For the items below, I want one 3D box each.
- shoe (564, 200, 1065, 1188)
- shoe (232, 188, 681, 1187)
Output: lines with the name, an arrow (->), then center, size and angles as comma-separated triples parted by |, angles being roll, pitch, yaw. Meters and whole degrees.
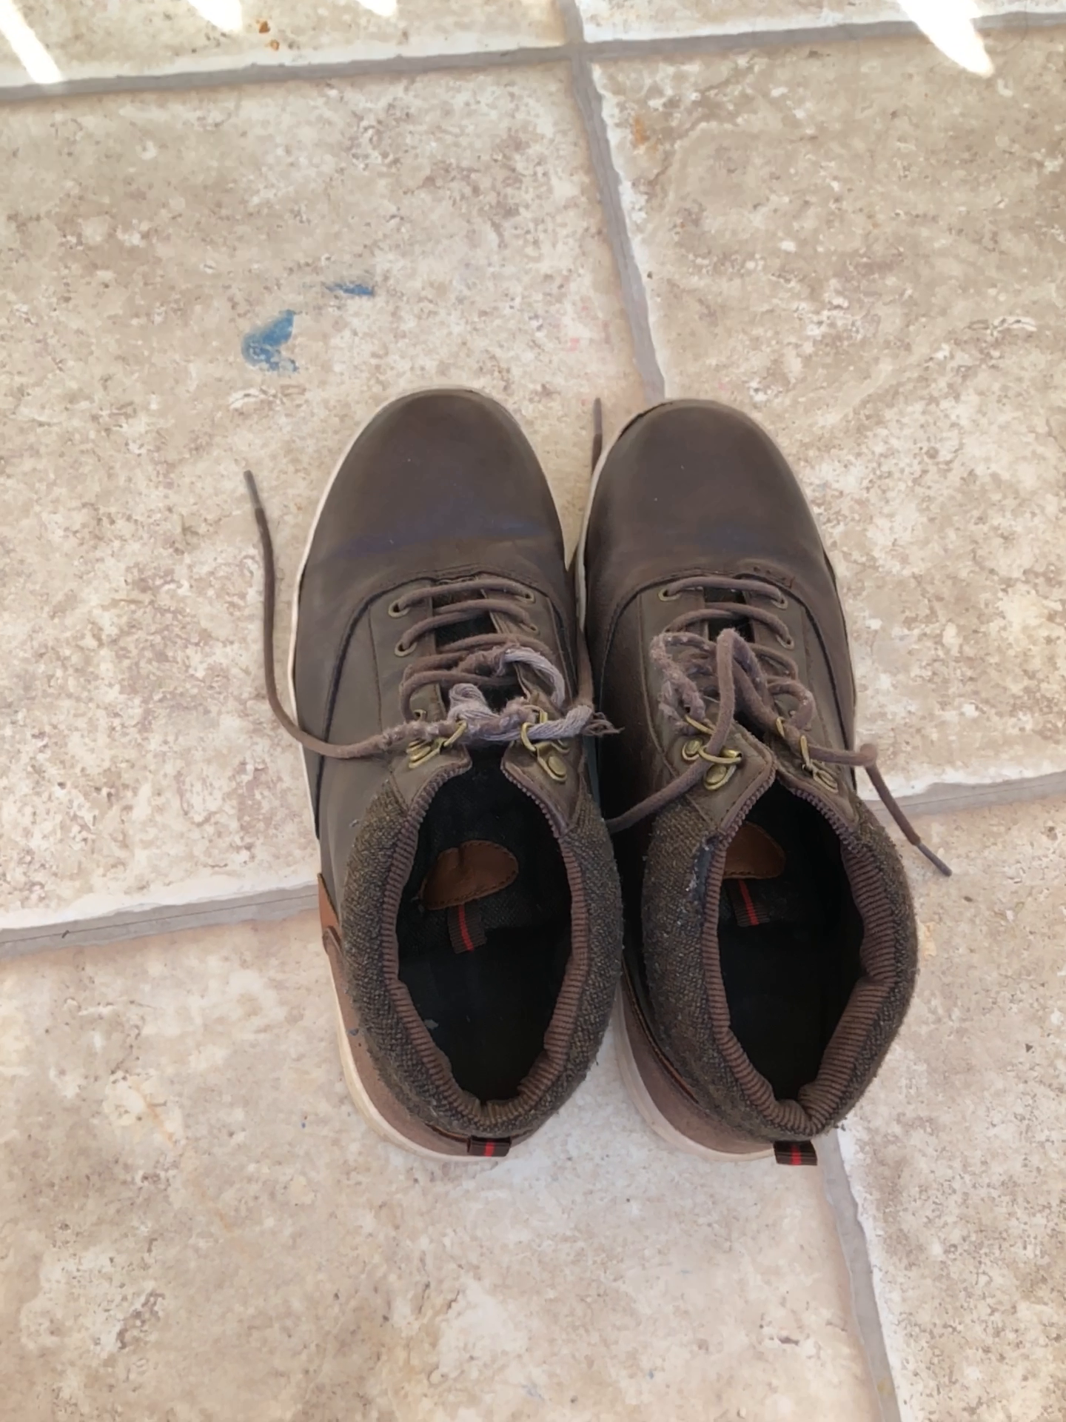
shoe -> 0.077, -0.002, 0.413 | 0.110, 0.150, 0.301 | 0, 71, -4
shoe -> -0.031, -0.005, 0.409 | 0.110, 0.150, 0.301 | -2, 71, -4
